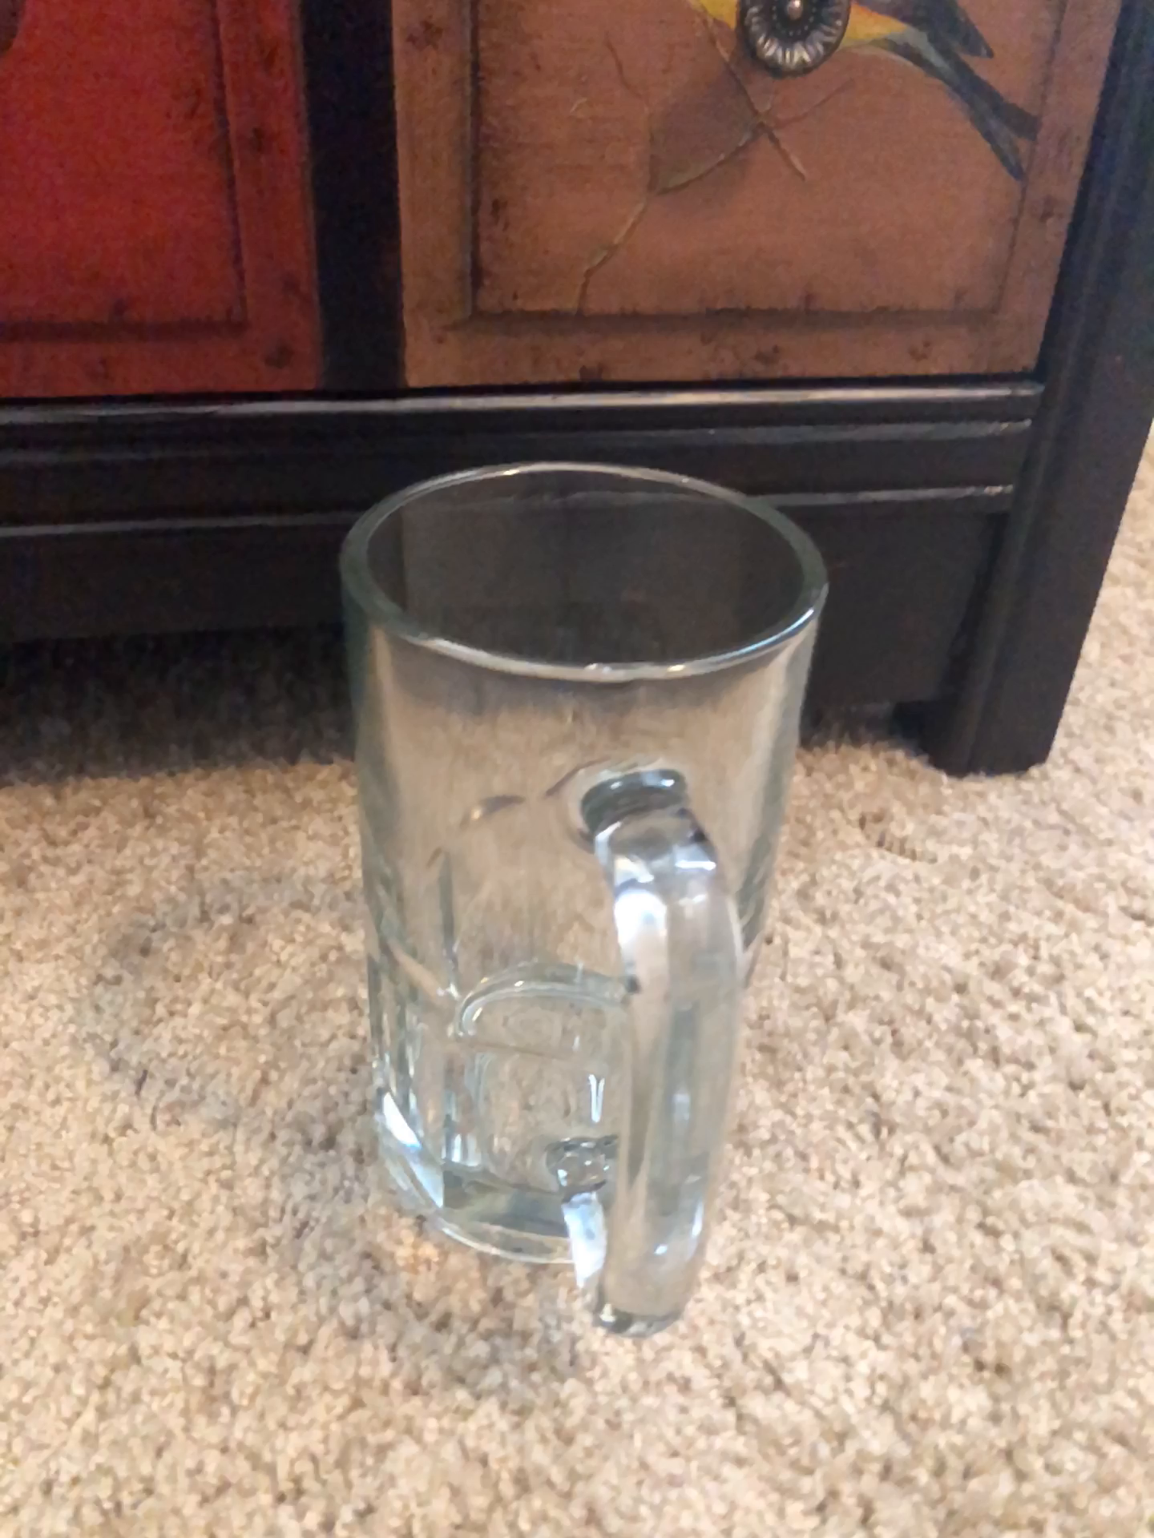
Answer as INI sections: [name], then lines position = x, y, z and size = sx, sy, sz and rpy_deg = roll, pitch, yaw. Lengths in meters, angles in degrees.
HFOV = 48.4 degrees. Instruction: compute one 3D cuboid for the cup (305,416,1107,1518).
[cup]
position = 0.002, 0.029, 0.253
size = 0.096, 0.156, 0.134
rpy_deg = -3, 33, -13
